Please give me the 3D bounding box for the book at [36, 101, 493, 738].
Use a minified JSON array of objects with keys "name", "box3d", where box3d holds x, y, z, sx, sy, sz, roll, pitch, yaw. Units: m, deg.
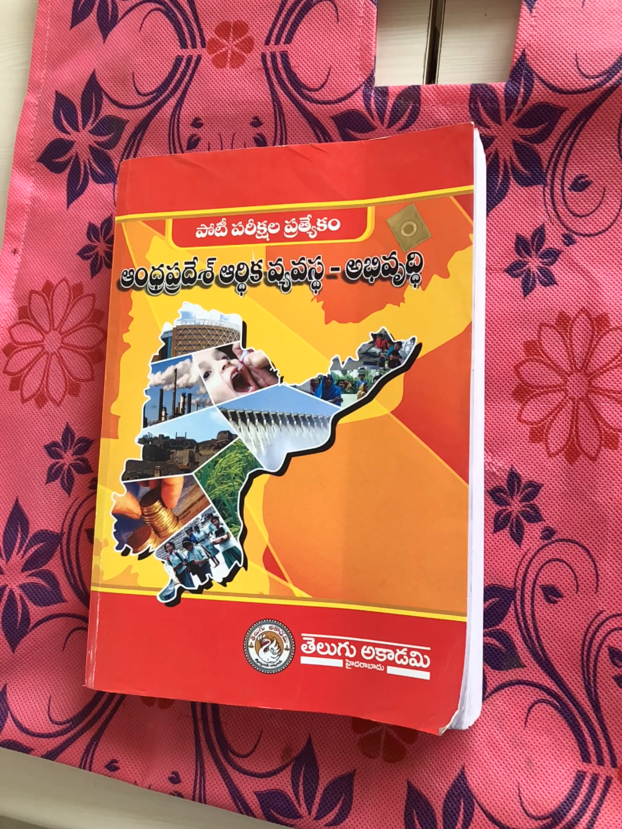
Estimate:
[{"name":"book","box3d":[-0.019,-0.002,0.332,0.200,0.060,0.260,1,87,13]}]
